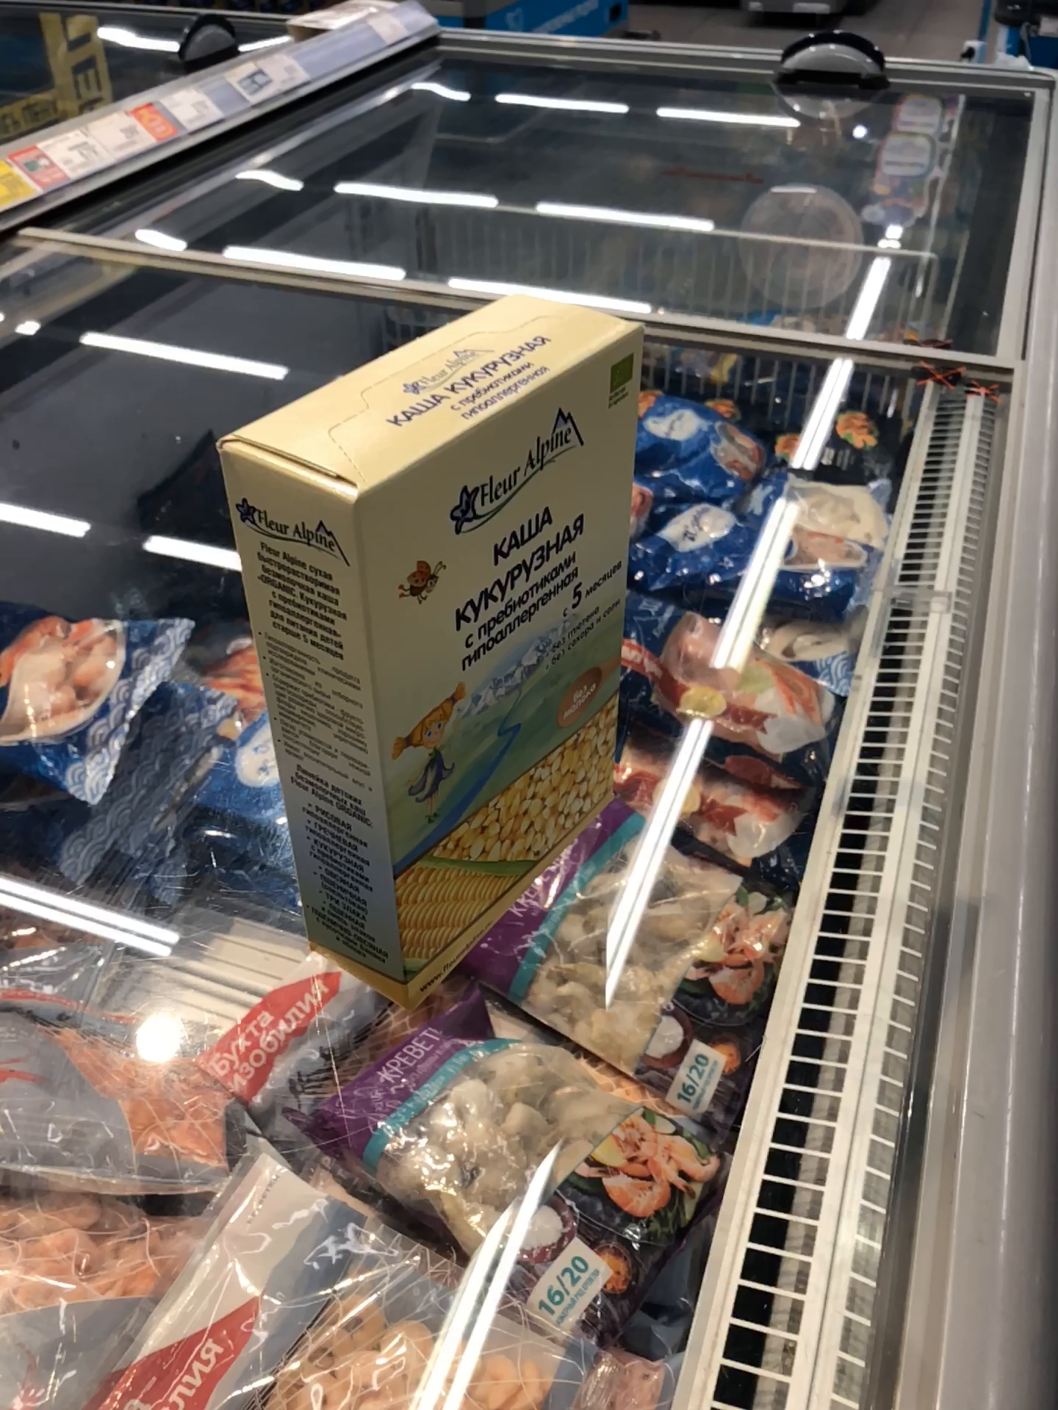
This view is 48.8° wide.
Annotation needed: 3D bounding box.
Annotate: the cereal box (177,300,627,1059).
[{"bbox_3d":[-0.028,-0.004,0.382,0.050,0.209,0.131,23,45,27],"label":"cereal box"}]
